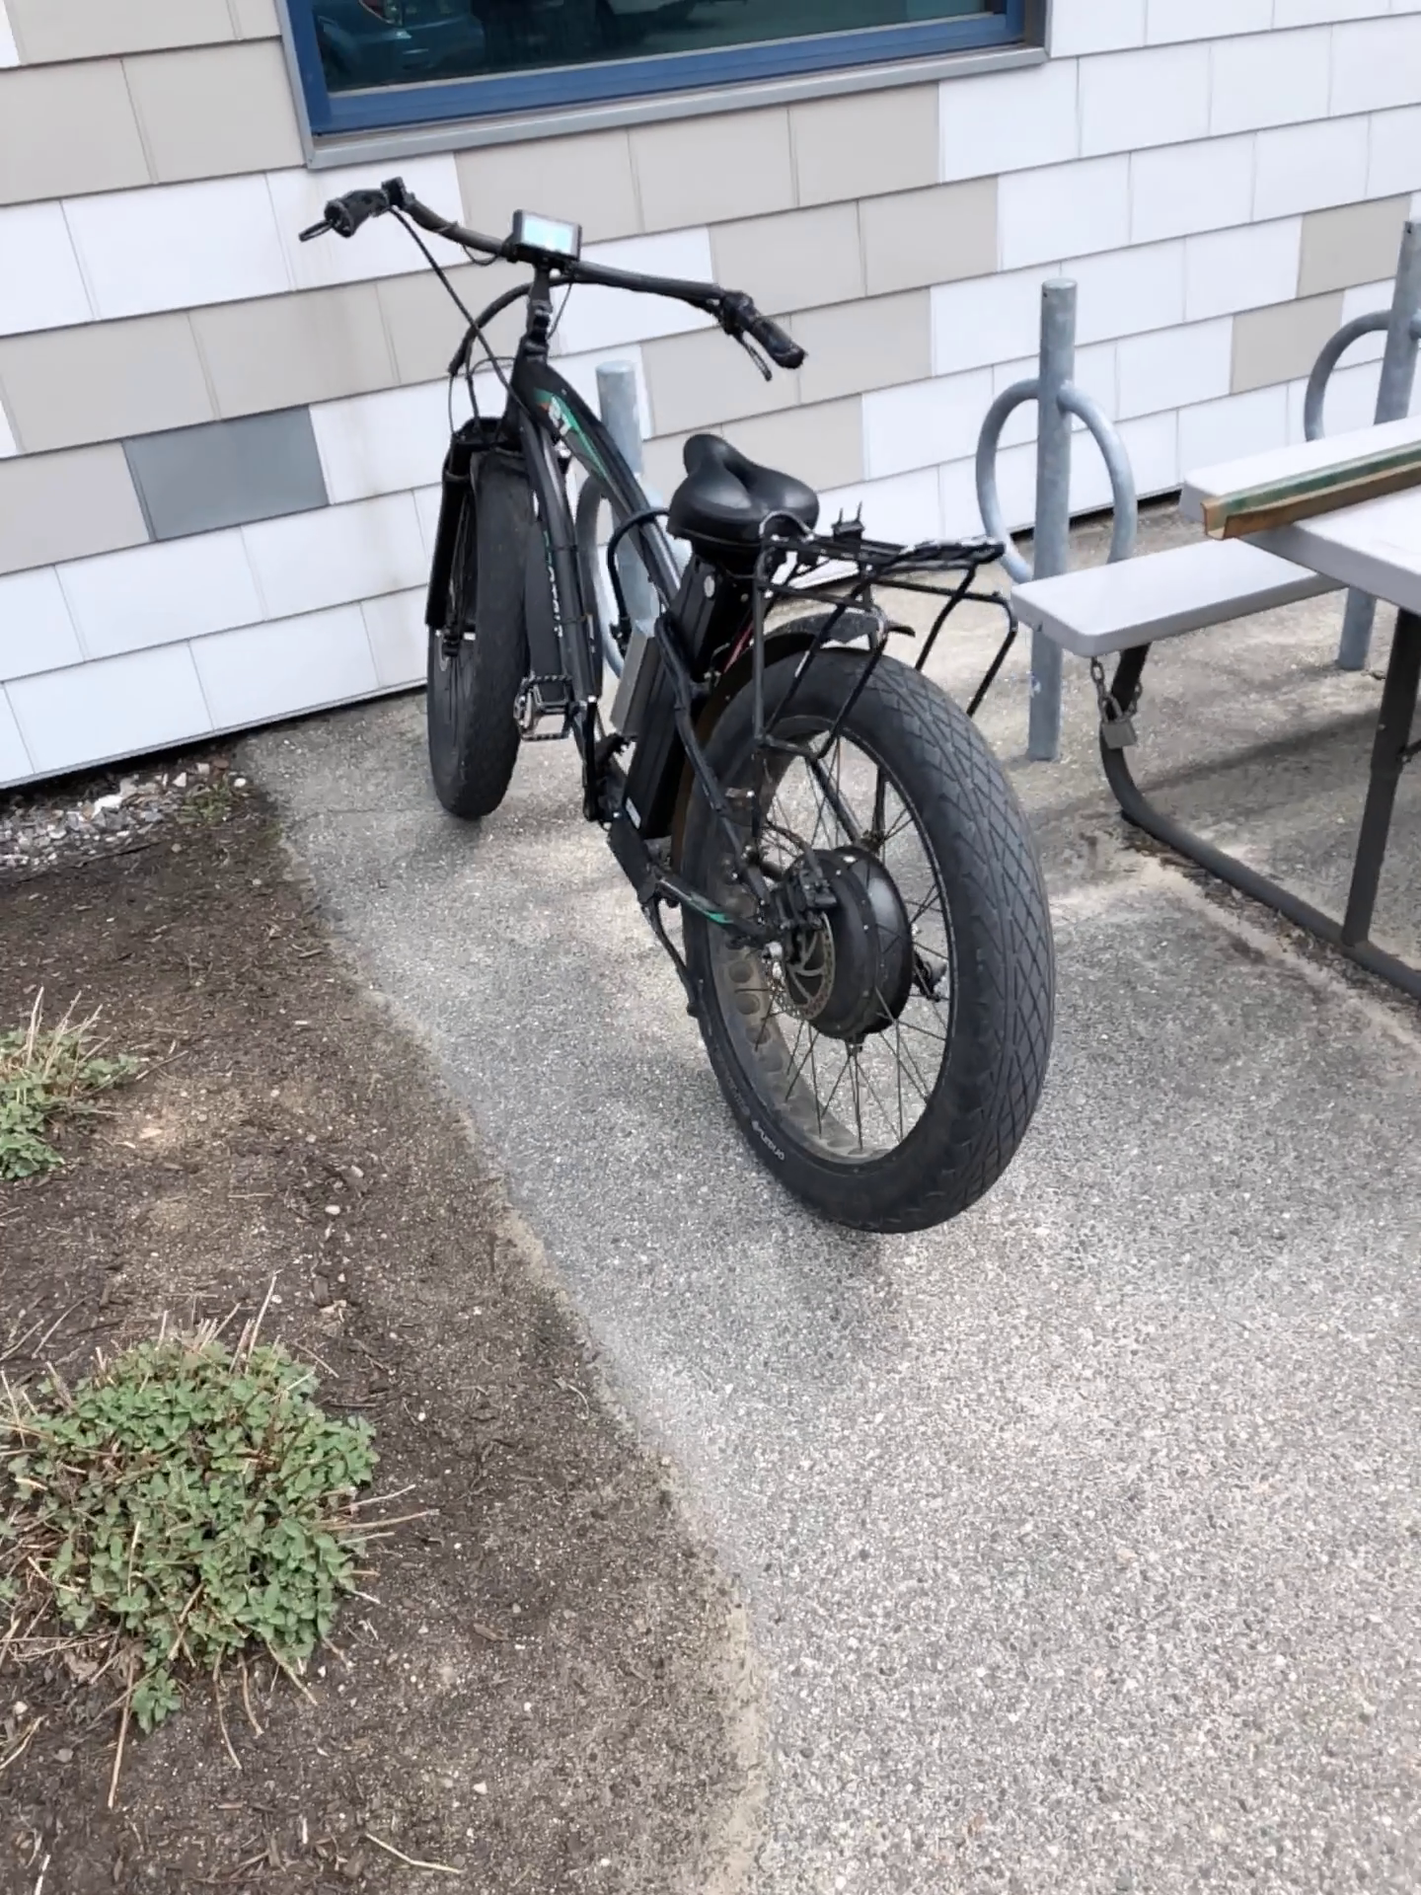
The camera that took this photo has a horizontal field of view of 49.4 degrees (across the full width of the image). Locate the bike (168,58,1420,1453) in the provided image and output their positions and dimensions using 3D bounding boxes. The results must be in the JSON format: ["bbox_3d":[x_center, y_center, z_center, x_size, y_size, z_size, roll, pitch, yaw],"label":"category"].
[{"bbox_3d":[-0.016,-0.519,2.288,0.912,1.131,1.867,-19,38,-19],"label":"bike"}]
